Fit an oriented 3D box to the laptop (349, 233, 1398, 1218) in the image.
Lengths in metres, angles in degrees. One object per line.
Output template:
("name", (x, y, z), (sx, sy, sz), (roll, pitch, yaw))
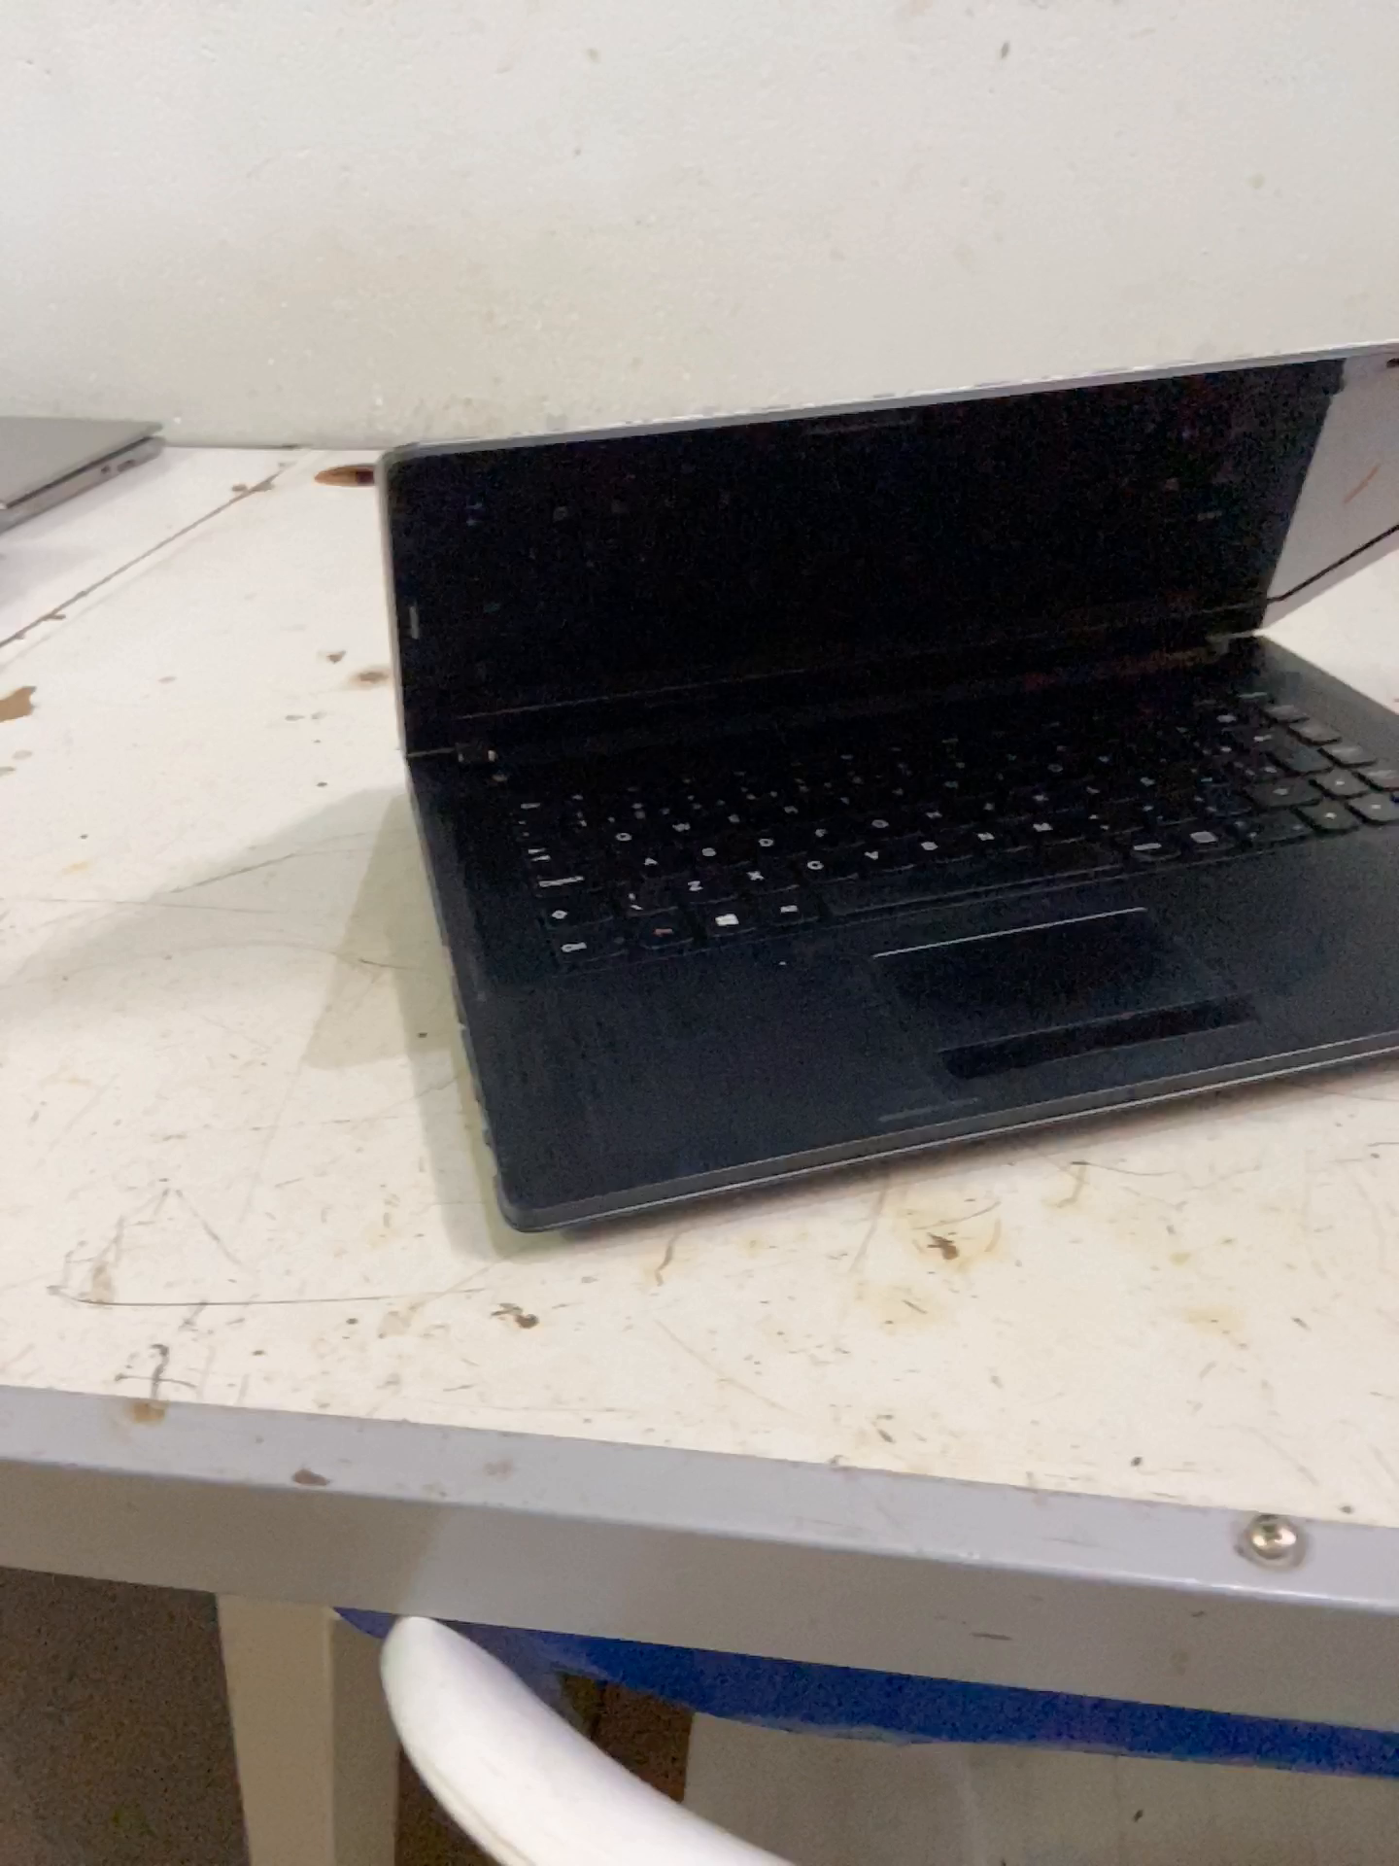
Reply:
("laptop", (0.092, -0.093, 0.415), (0.344, 0.148, 0.246), (-10, 32, -12))
